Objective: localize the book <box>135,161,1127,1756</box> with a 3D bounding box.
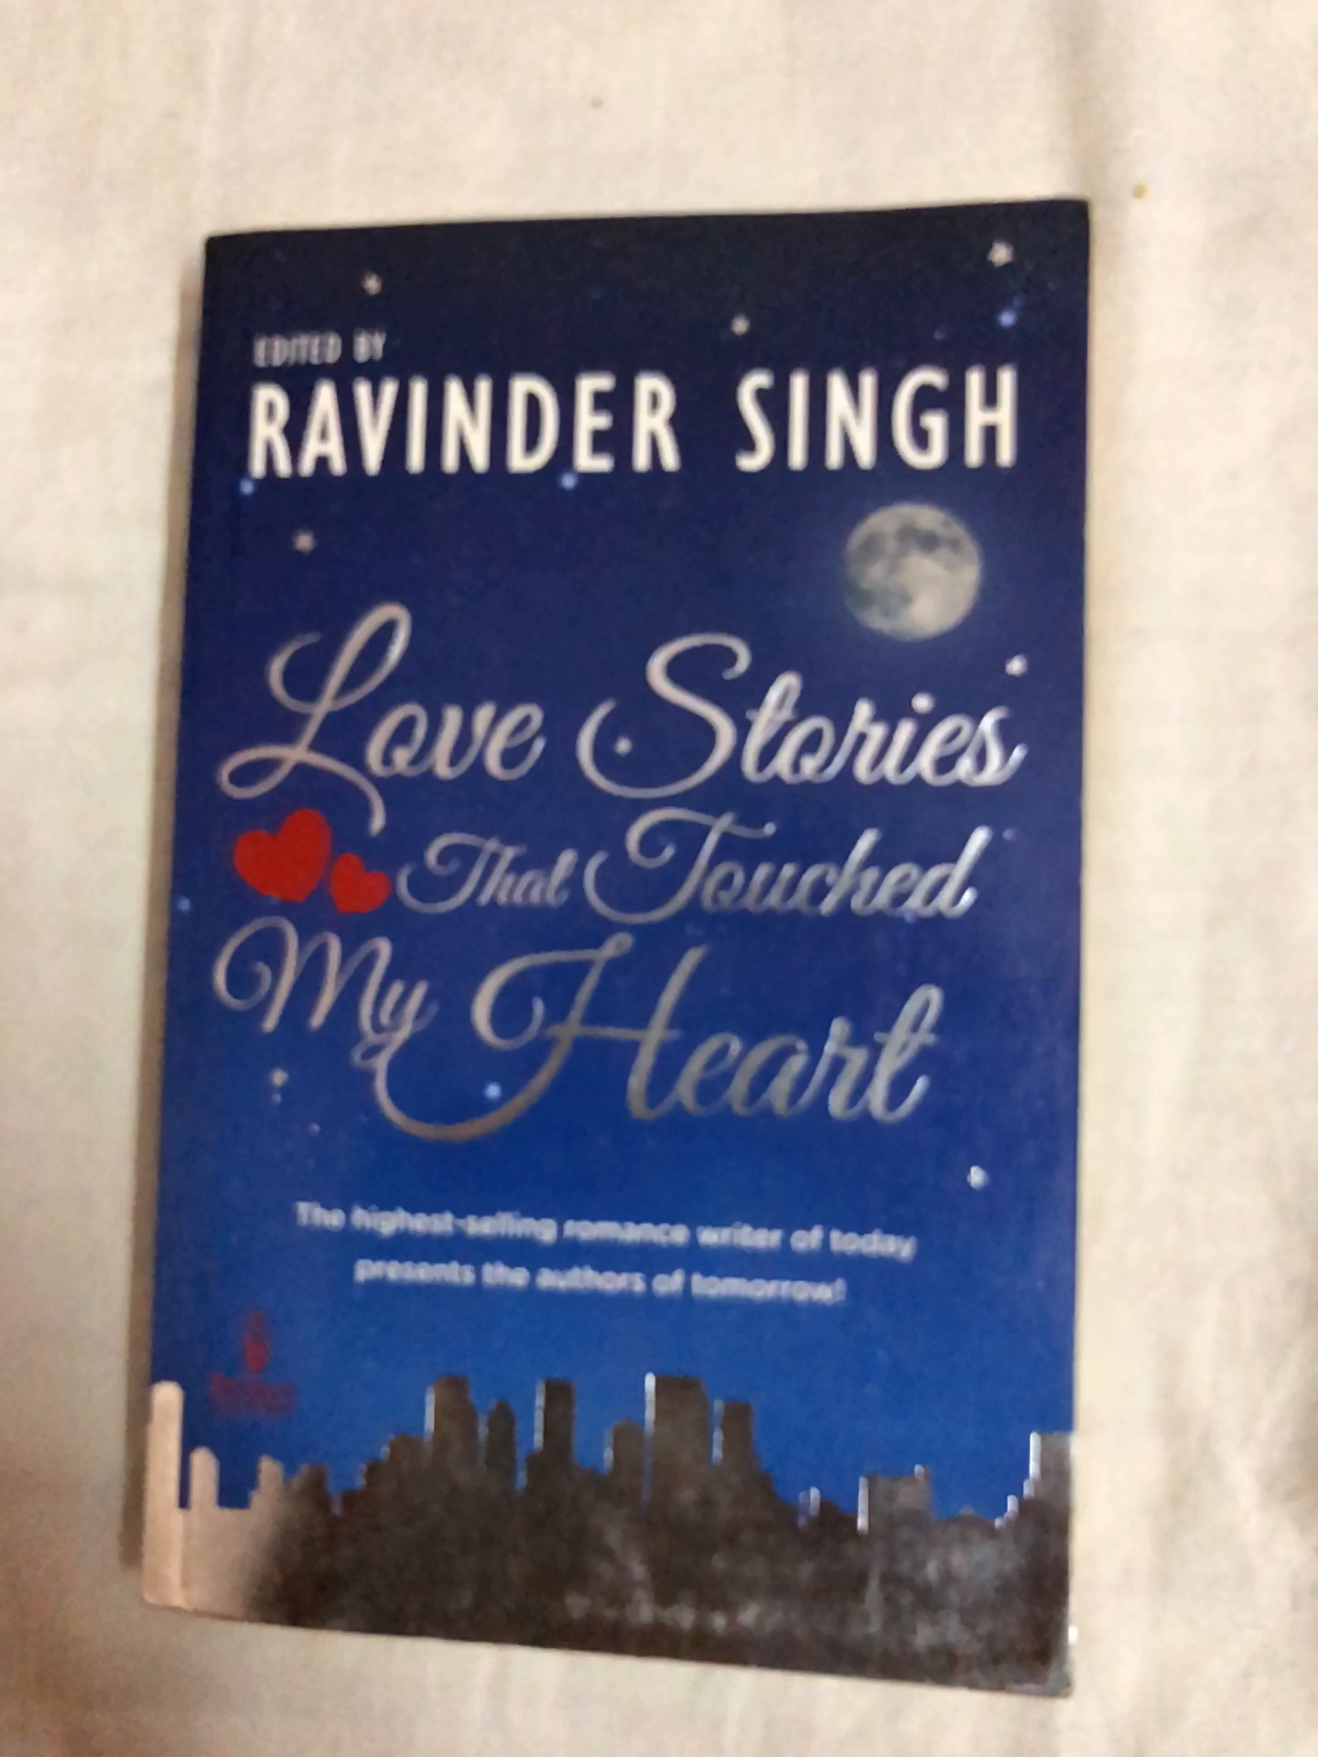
[{"bbox_3d":[-0.003,0.008,0.220,0.130,0.030,0.210,2,87,9],"label":"book"}]
